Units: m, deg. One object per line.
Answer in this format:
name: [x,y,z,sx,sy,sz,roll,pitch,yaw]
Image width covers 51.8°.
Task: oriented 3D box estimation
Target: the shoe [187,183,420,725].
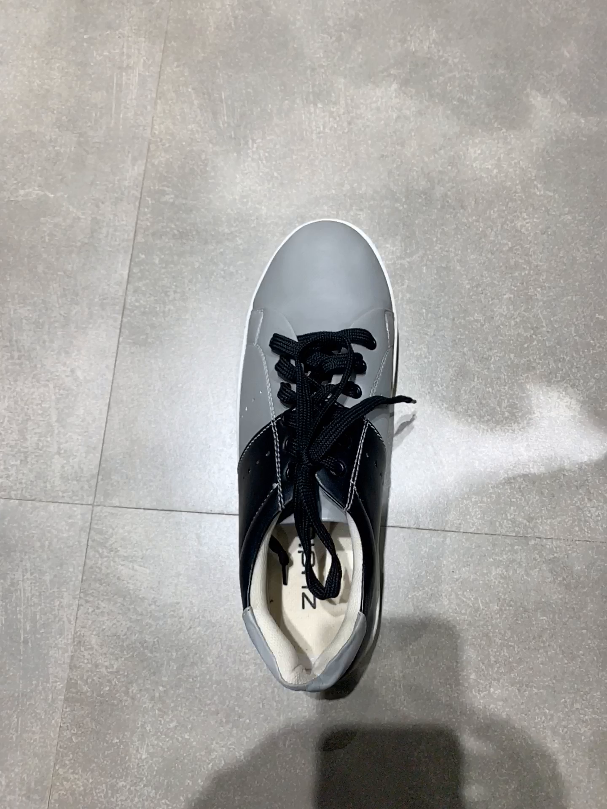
shoe: [0.008,0.020,0.348,0.101,0.093,0.263,1,75,4]
